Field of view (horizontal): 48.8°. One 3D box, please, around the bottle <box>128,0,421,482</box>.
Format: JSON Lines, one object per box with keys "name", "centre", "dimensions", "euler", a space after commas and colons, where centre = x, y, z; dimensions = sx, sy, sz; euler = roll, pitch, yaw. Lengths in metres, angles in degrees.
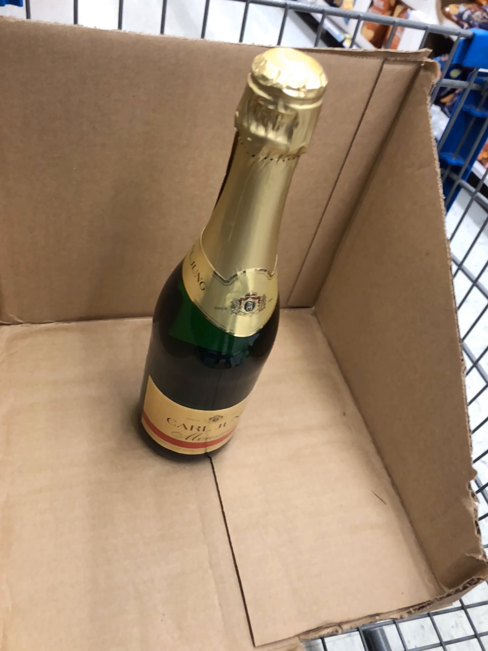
{"name": "bottle", "centre": [-0.011, -0.023, 0.325], "dimensions": [0.090, 0.288, 0.081], "euler": [-5, 47, -20]}
